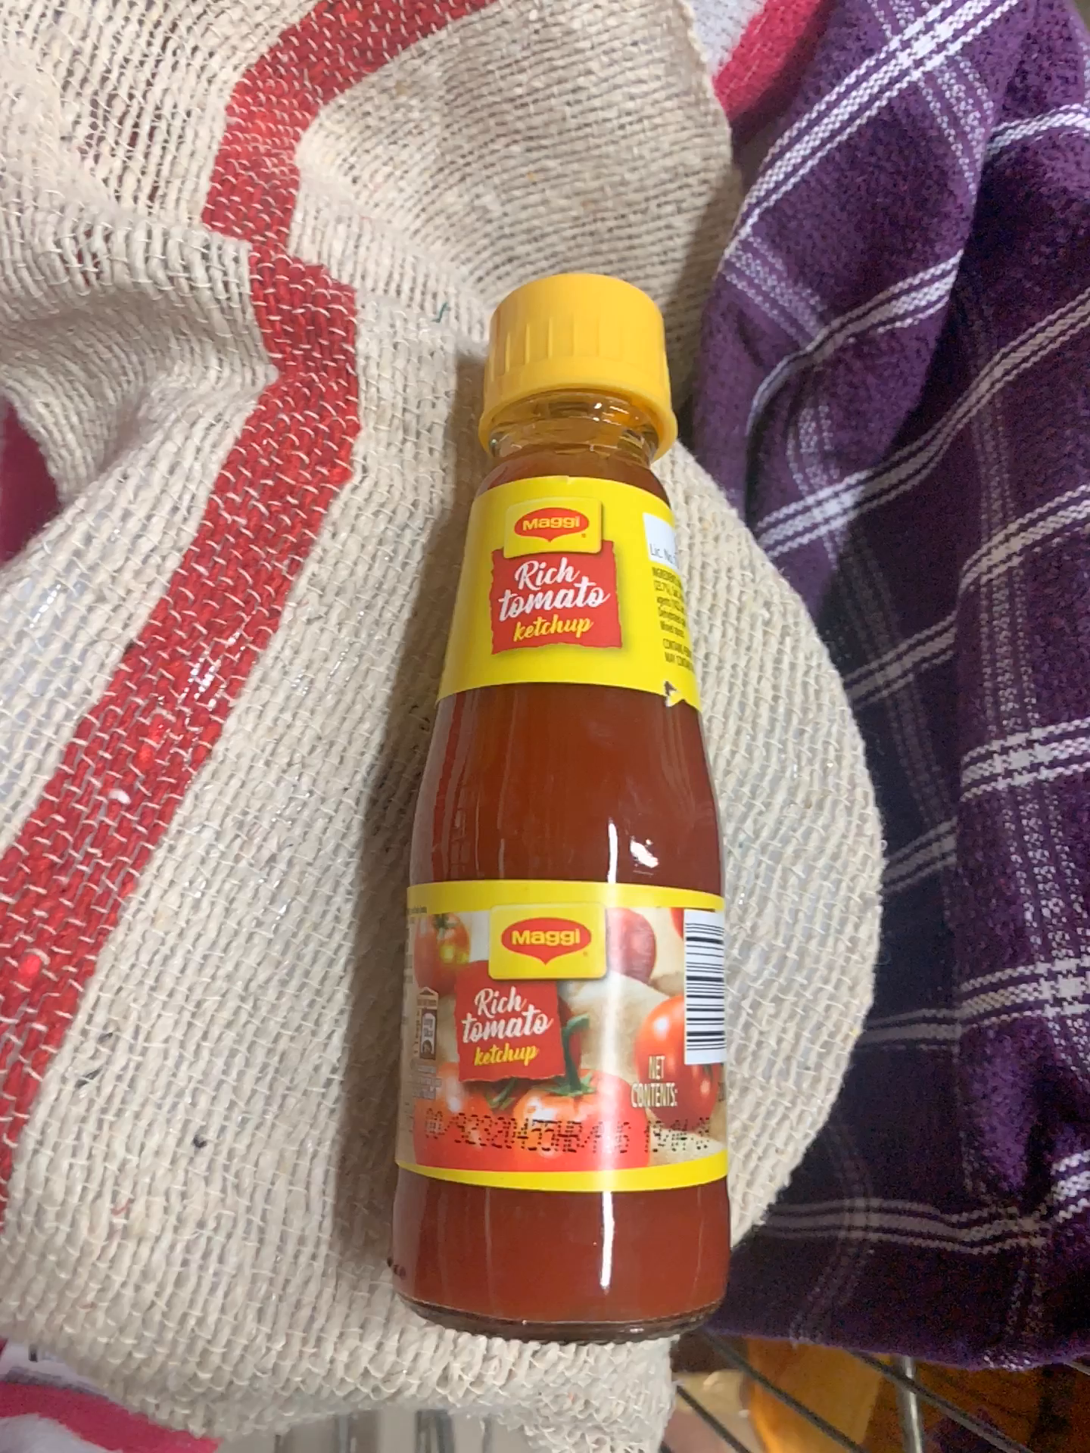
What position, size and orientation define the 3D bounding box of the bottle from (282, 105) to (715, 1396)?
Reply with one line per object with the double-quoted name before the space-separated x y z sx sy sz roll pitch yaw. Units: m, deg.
"bottle" -0.001 -0.001 0.175 0.050 0.050 0.170 -1 77 10
